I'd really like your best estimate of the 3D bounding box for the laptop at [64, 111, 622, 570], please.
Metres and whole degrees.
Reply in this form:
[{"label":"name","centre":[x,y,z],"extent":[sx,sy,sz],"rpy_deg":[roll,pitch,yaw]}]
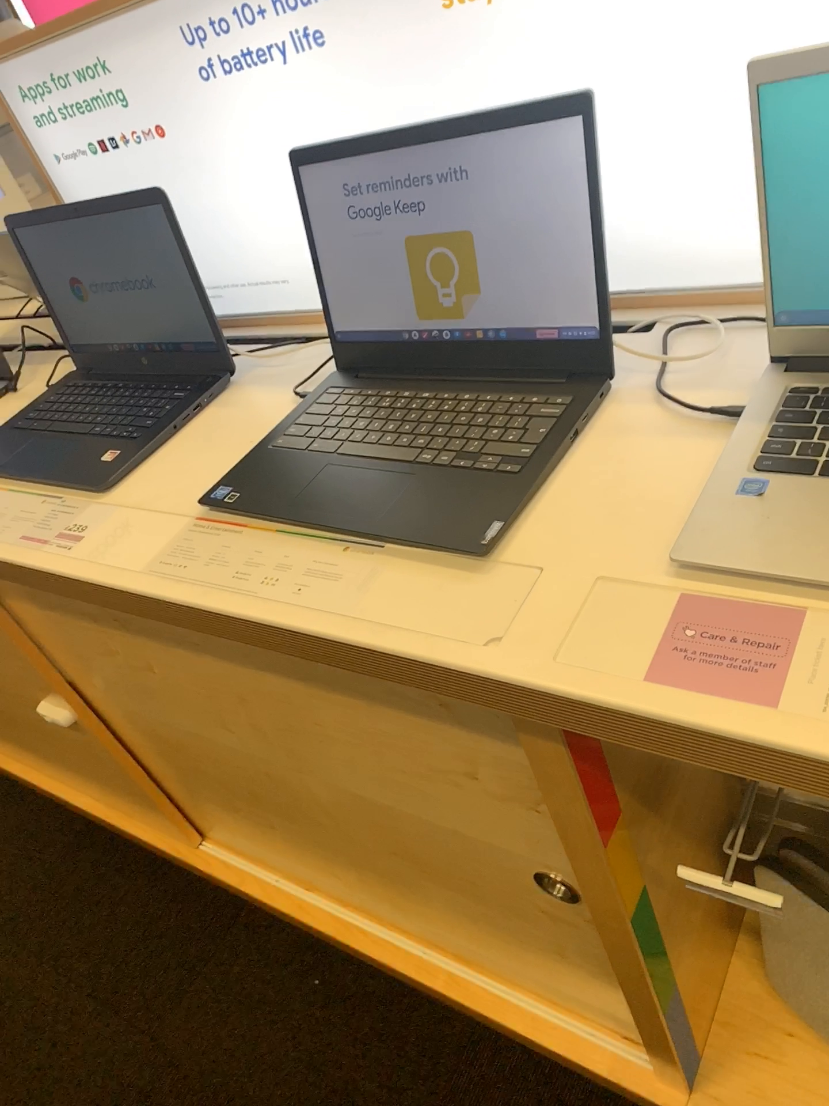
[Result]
[{"label":"laptop","centre":[-0.048,-0.181,0.709],"extent":[0.317,0.201,0.281],"rpy_deg":[10,49,37]}]
